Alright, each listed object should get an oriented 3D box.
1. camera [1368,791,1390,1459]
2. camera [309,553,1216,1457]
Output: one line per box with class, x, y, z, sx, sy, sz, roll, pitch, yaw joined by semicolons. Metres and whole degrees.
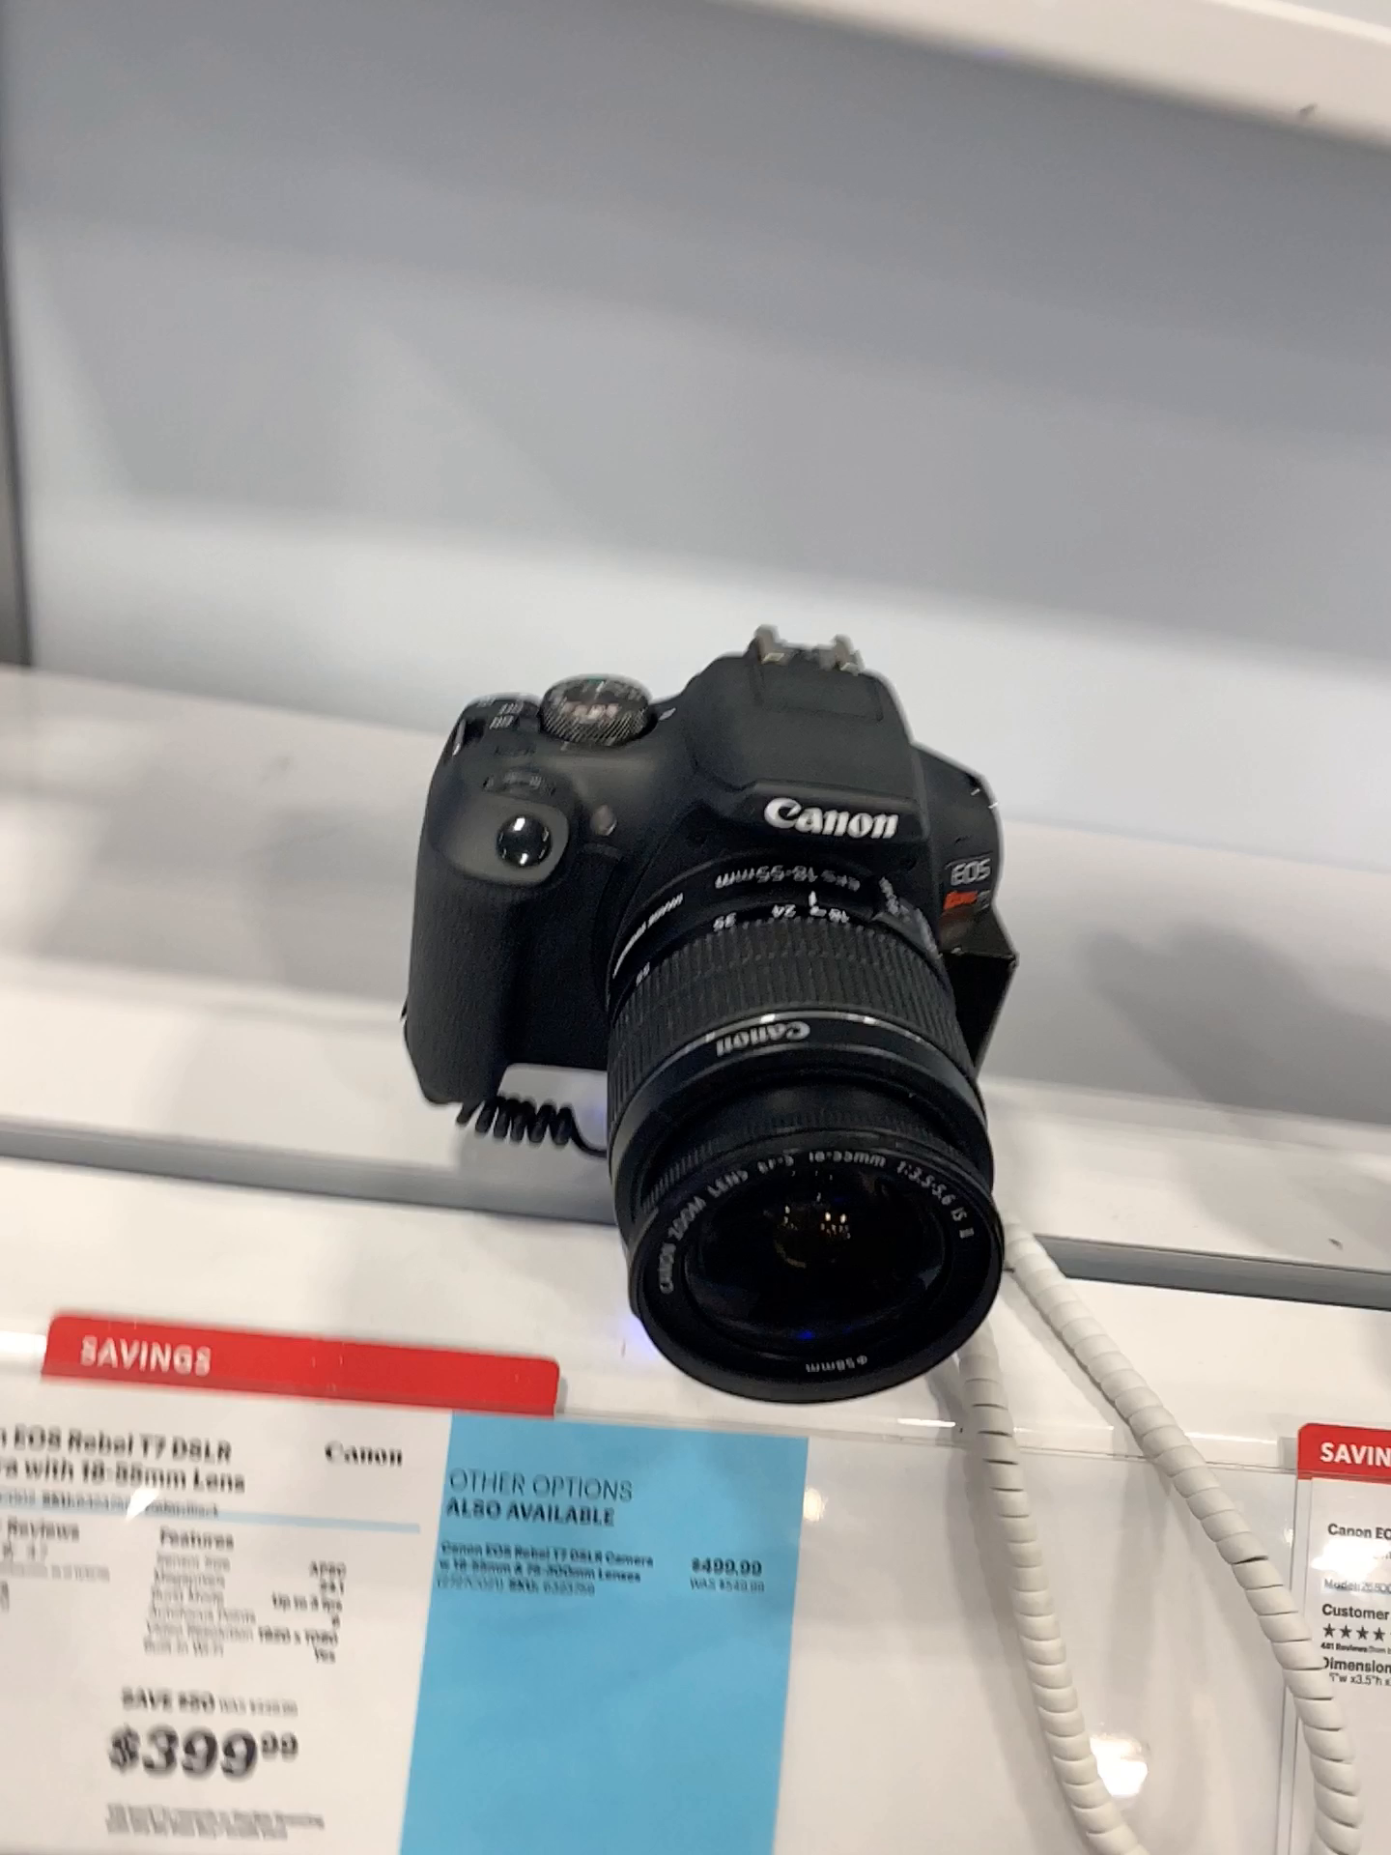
camera;0.243;0.040;0.327;0.121;0.080;0.103;12;33;1
camera;0.002;0.008;0.283;0.125;0.099;0.141;7;33;-7
